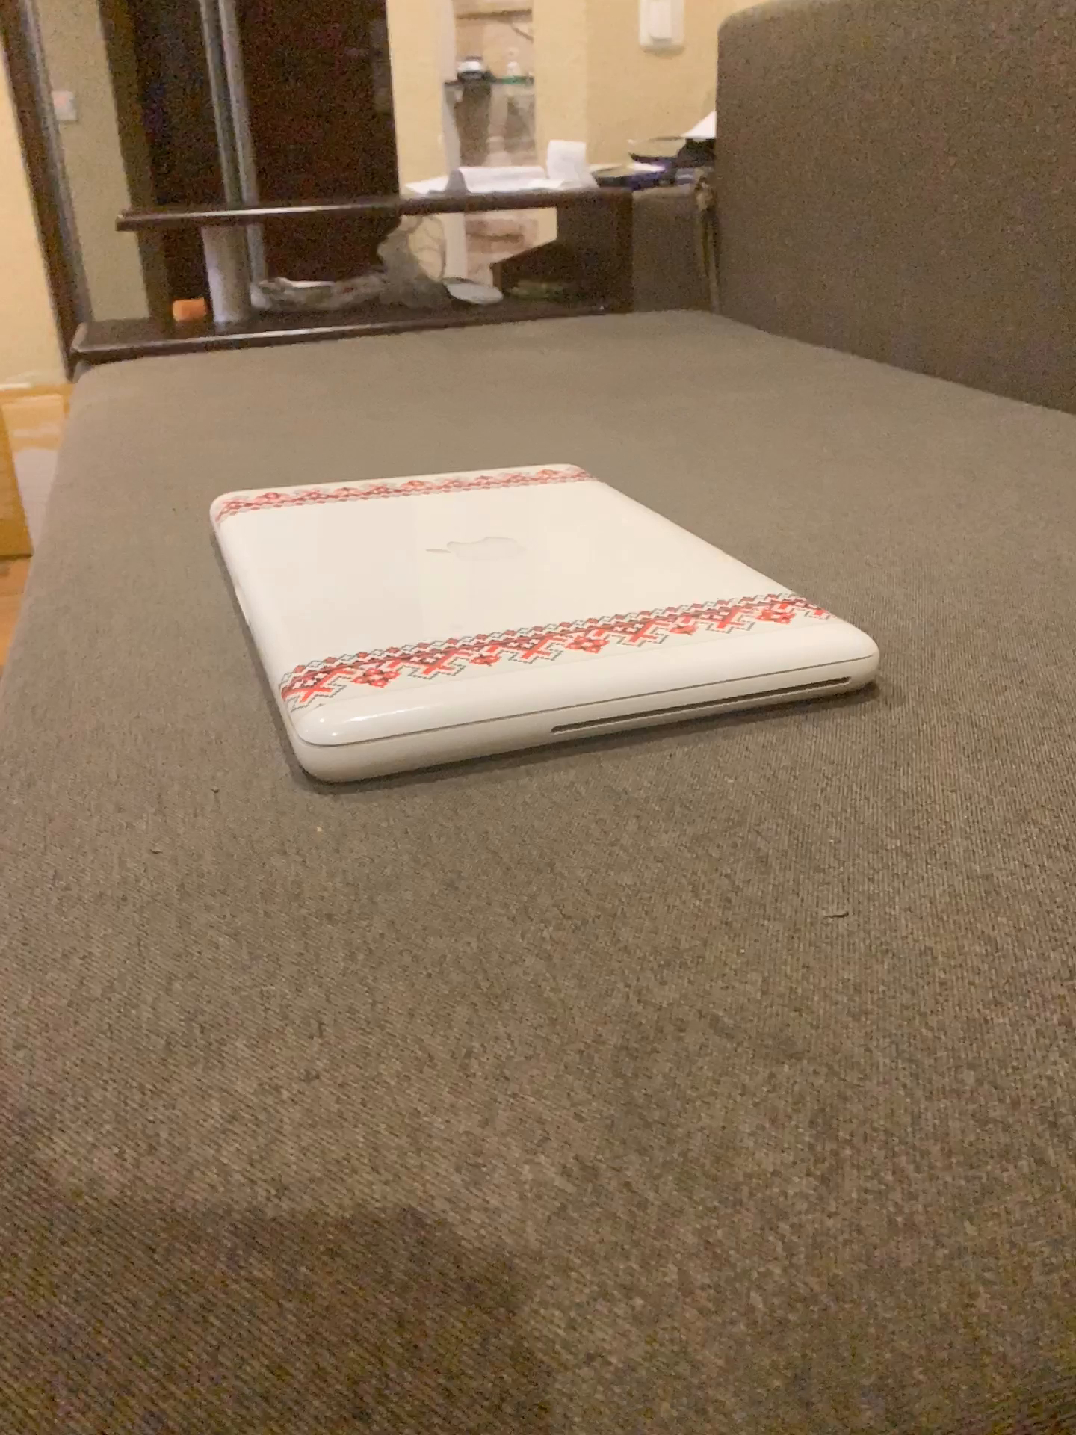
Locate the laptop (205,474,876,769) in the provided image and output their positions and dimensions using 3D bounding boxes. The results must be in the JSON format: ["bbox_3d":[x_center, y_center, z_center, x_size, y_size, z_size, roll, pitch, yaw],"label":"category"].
[{"bbox_3d":[-0.031,-0.069,0.543,0.222,0.003,0.327,-11,28,-18],"label":"laptop"}]
